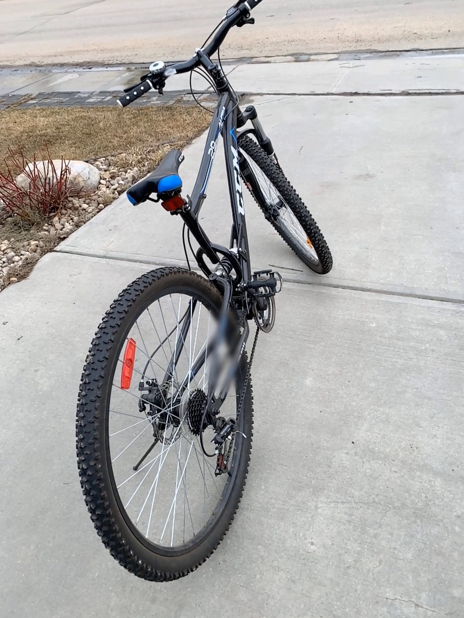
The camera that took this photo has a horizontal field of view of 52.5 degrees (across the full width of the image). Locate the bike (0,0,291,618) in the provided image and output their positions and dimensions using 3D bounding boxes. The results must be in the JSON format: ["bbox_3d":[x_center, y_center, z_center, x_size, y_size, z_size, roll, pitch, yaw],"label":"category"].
[{"bbox_3d":[-0.183,-0.225,1.493,0.627,1.173,1.798,0,41,11],"label":"bike"}]
